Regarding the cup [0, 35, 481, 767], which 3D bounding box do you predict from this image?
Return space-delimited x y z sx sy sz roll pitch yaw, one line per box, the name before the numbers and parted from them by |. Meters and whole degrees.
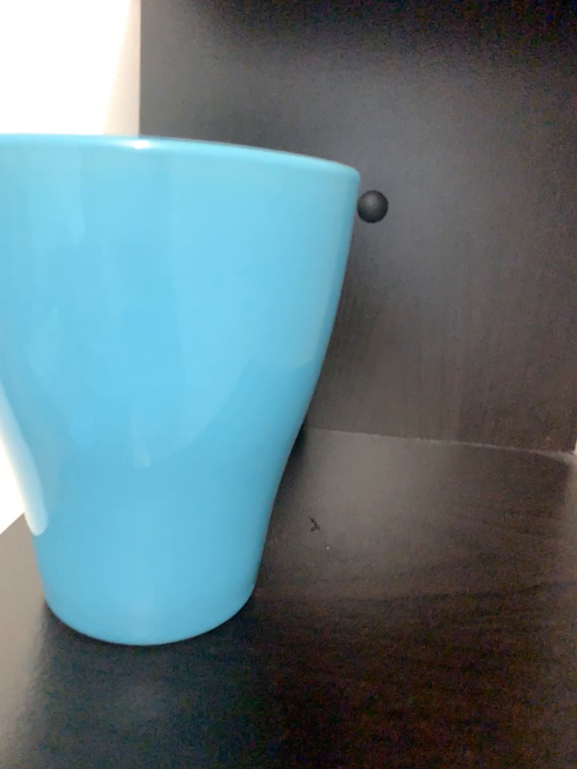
cup | -0.039 -0.005 0.132 0.110 0.090 0.090 -1 15 -21
